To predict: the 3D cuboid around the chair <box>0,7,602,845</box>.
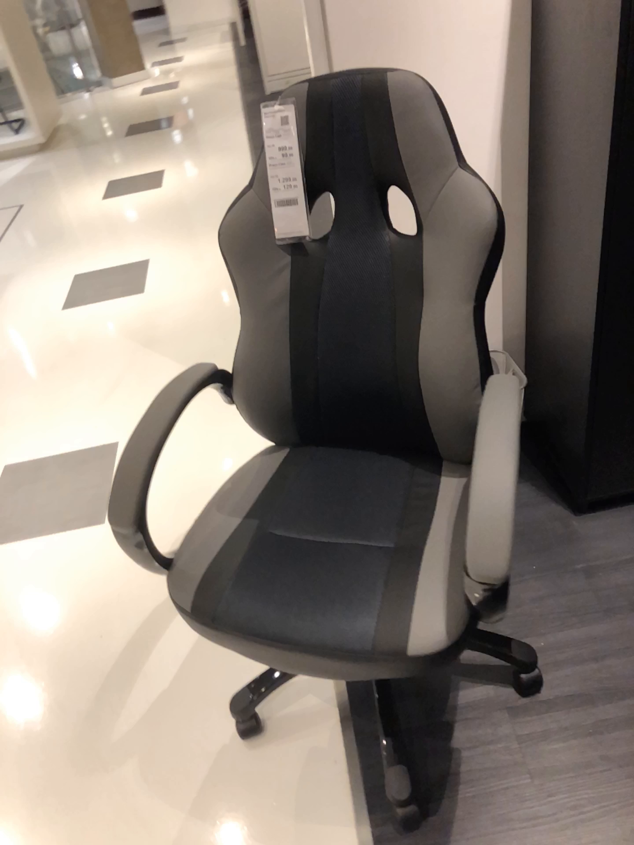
[{"bbox_3d":[0.070,0.039,1.247,0.711,1.161,0.785,5,40,21],"label":"chair"}]
